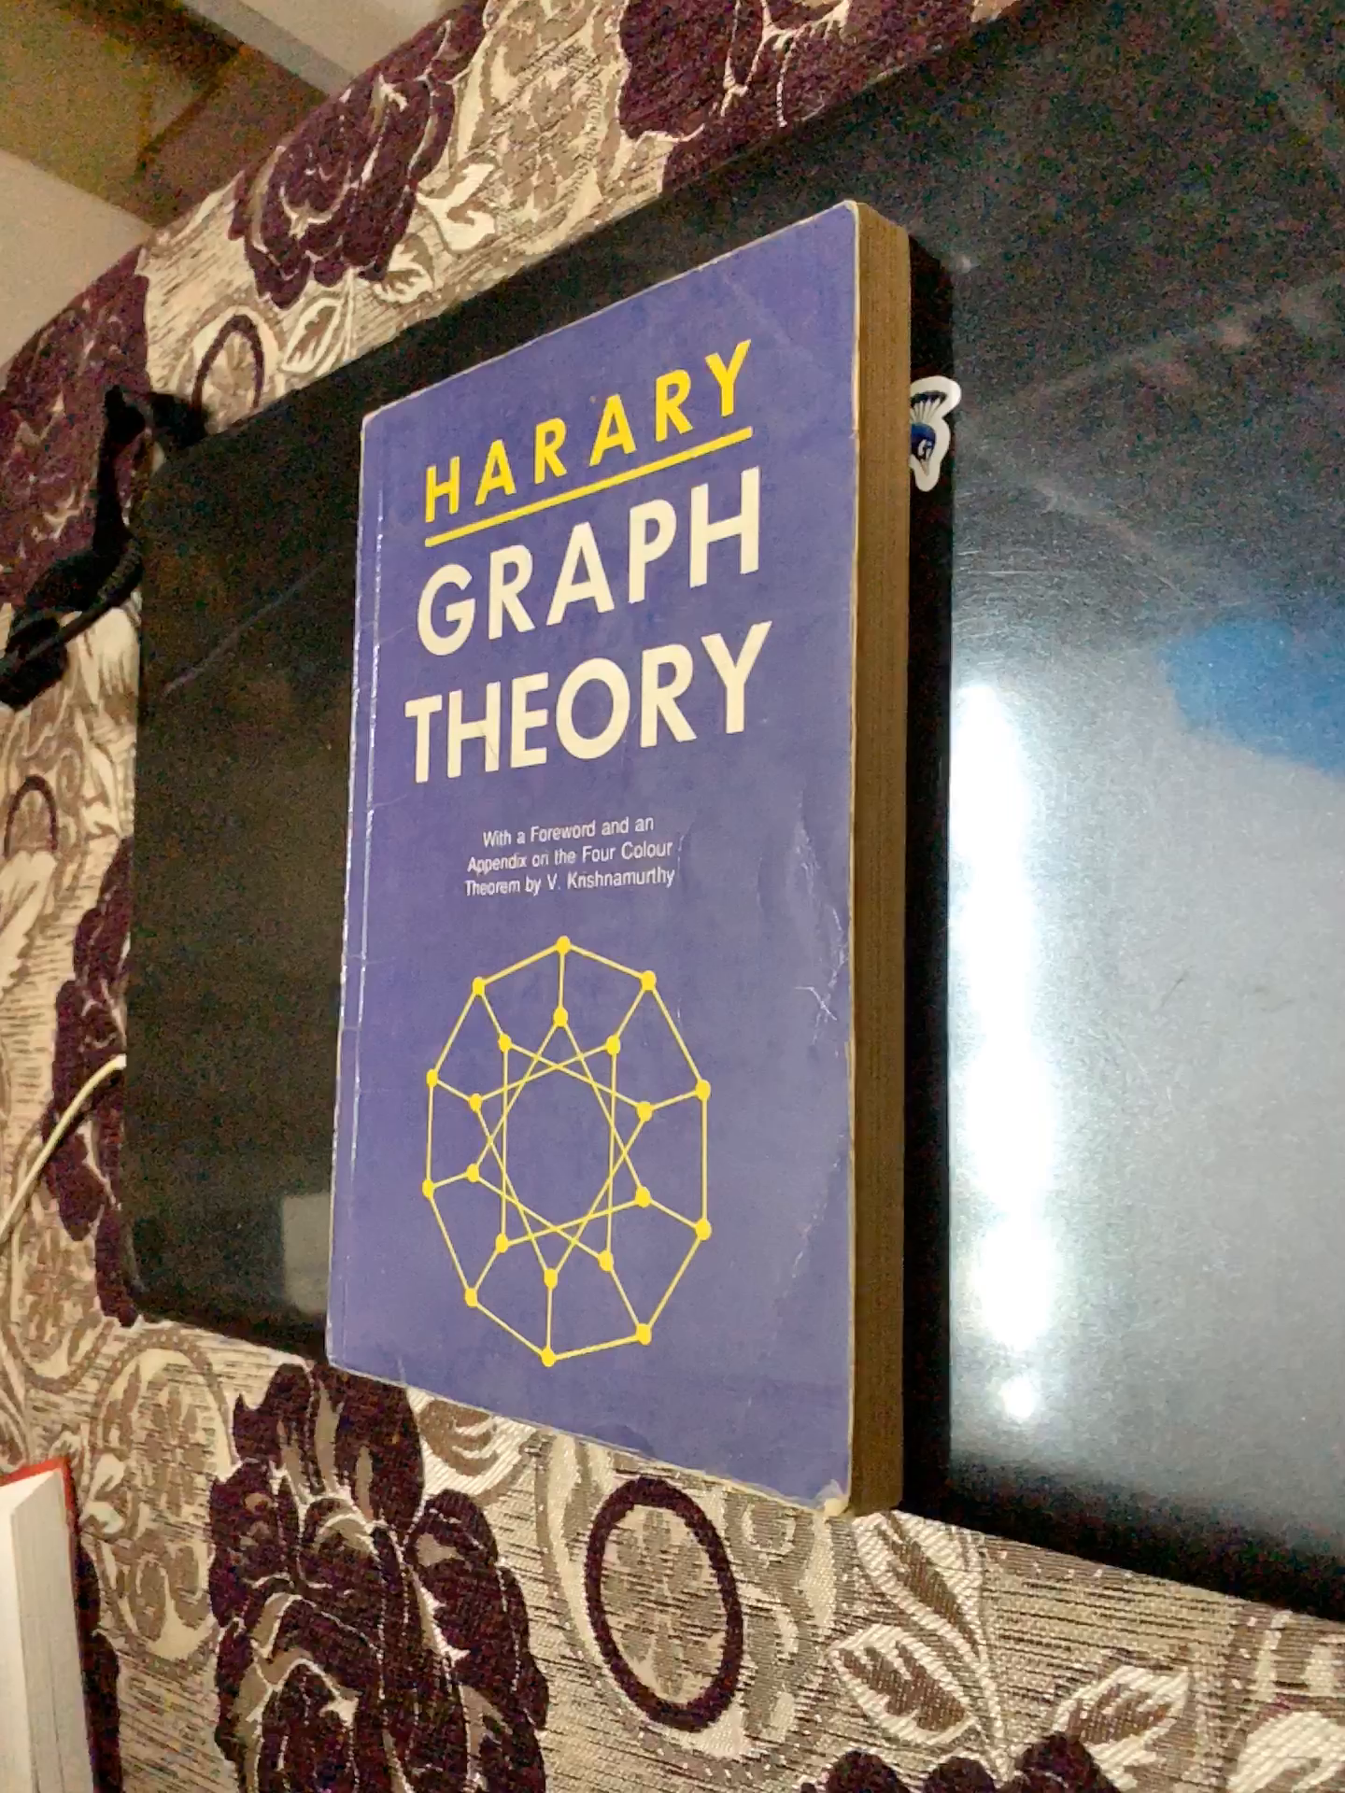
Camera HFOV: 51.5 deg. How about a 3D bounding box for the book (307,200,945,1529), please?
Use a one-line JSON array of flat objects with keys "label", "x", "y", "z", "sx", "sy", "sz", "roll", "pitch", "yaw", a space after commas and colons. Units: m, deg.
[{"label": "book", "x": -0.016, "y": -0.006, "z": 0.263, "sx": 0.141, "sy": 0.020, "sz": 0.200, "roll": -3, "pitch": 84, "yaw": 42}]
